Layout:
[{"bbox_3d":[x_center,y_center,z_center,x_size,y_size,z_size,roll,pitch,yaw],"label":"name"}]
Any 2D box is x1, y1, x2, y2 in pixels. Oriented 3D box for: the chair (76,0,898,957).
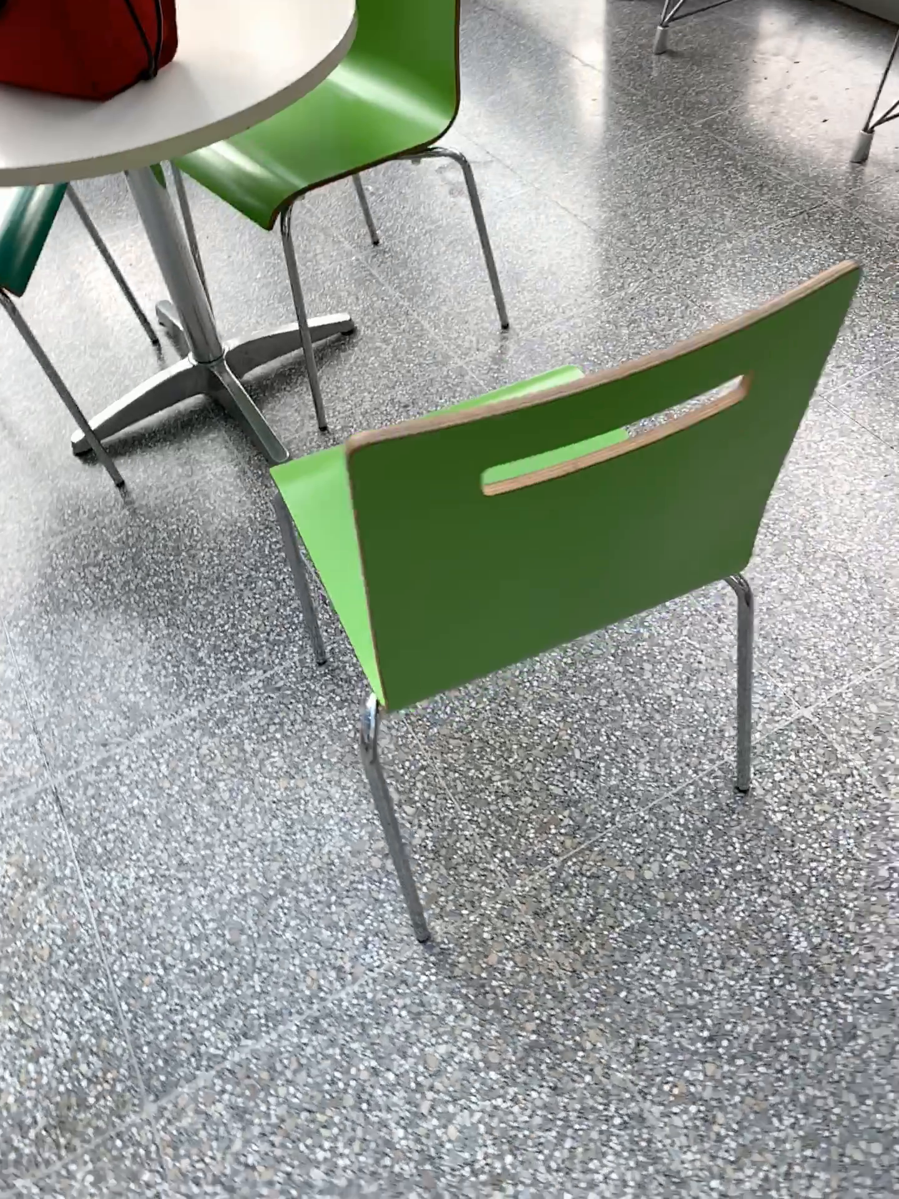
[{"bbox_3d":[0.056,-0.093,1.031,0.540,0.832,0.534,-22,52,-10],"label":"chair"}]
